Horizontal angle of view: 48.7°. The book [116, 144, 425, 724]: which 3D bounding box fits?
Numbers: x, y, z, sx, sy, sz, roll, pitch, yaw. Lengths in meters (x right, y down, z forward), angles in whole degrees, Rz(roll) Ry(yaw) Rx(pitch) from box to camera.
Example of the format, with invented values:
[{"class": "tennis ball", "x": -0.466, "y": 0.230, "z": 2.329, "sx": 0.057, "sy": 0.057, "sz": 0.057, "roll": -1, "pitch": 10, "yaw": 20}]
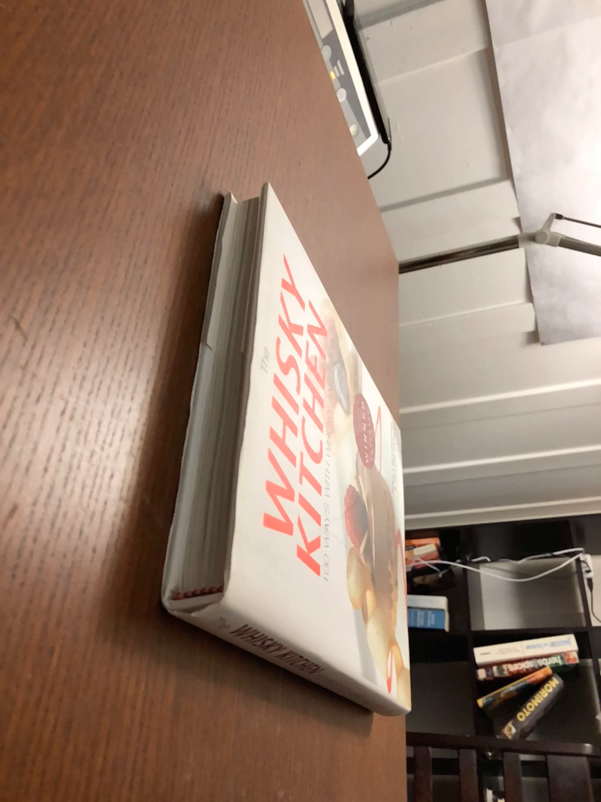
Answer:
[{"class": "book", "x": 0.015, "y": 0.042, "z": 0.371, "sx": 0.271, "sy": 0.040, "sz": 0.220, "roll": 54, "pitch": 33, "yaw": -51}]
